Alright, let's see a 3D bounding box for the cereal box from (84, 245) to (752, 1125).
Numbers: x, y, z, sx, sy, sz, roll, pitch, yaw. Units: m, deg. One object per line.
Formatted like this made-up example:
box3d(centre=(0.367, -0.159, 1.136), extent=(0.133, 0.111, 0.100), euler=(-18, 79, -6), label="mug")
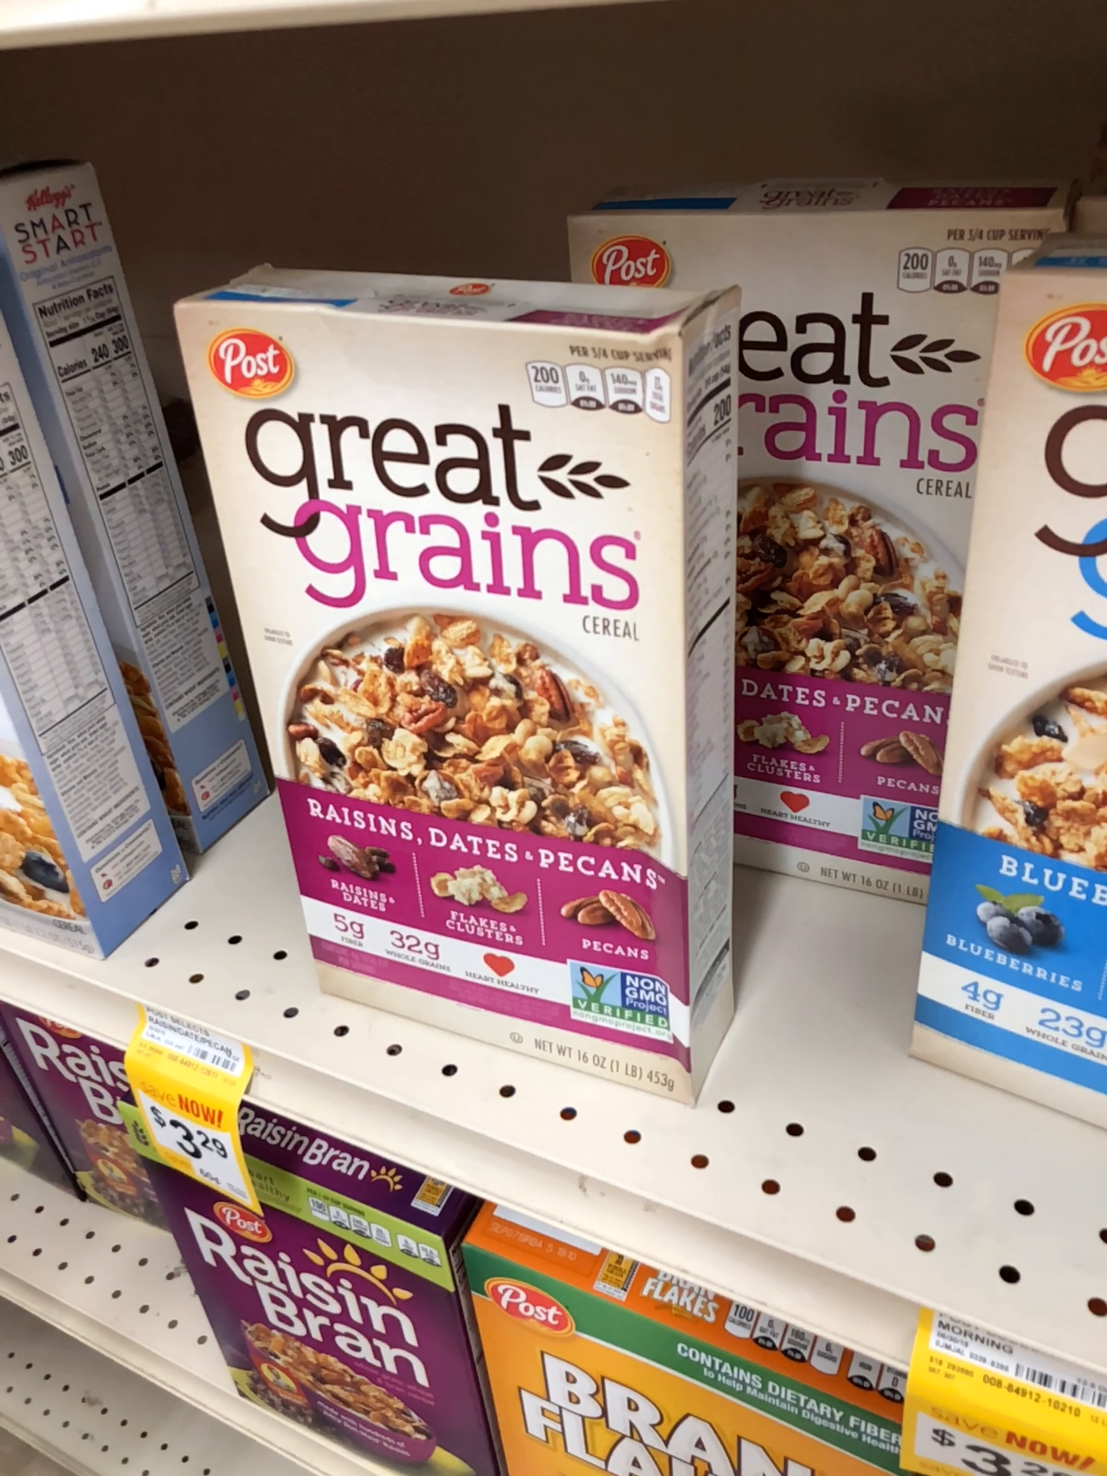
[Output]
box3d(centre=(-0.027, -0.008, 0.388), extent=(0.170, 0.269, 0.050), euler=(11, 38, 23), label="cereal box")
